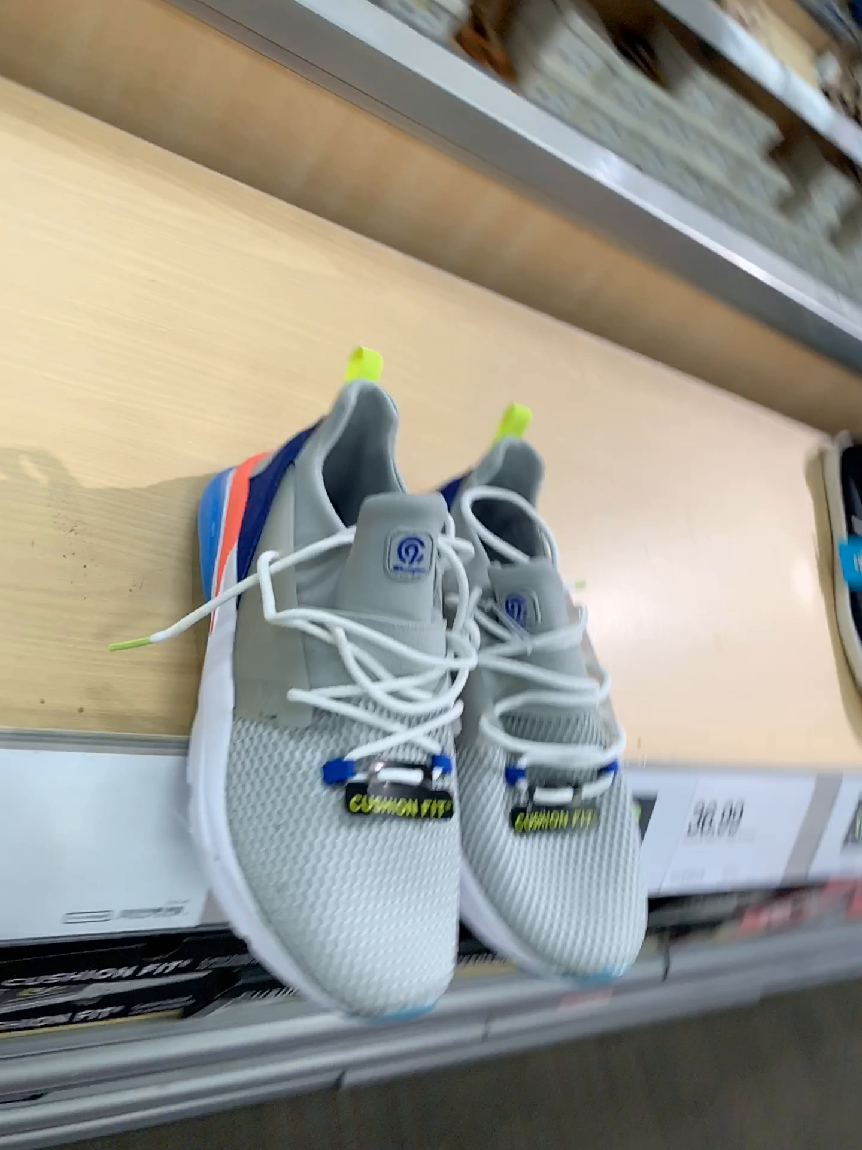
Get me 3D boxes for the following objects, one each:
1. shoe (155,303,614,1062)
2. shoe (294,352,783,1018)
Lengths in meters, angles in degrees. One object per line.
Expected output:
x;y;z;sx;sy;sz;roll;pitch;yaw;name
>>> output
-0.036;0.031;0.365;0.110;0.090;0.271;11;51;-35;shoe
0.035;0.038;0.415;0.110;0.090;0.270;4;55;-39;shoe
